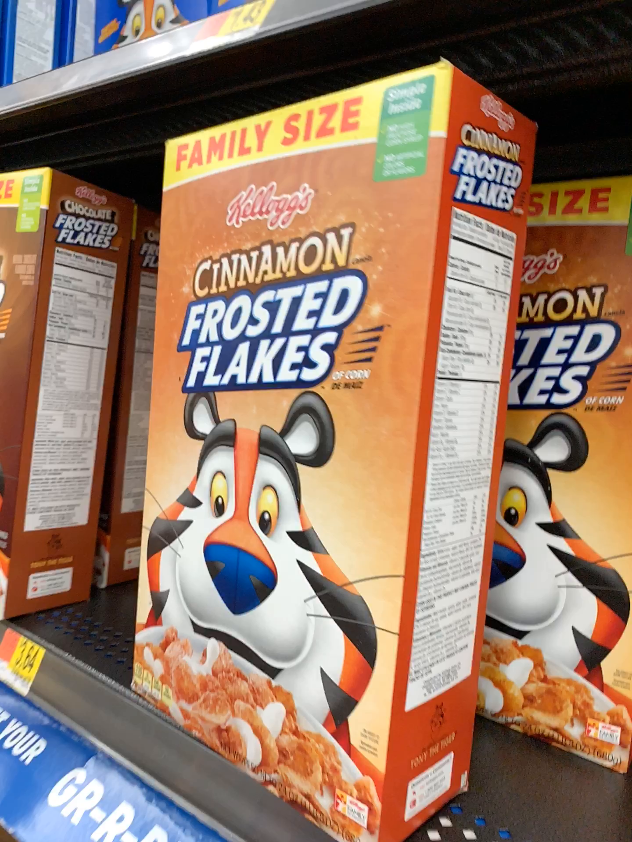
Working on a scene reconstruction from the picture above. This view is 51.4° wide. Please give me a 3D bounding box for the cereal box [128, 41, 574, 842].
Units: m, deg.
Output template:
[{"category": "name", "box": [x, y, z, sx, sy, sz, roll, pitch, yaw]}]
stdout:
[{"category": "cereal box", "box": [-0.001, 0.014, 0.353, 0.210, 0.340, 0.070, 10, 6, 43]}]
